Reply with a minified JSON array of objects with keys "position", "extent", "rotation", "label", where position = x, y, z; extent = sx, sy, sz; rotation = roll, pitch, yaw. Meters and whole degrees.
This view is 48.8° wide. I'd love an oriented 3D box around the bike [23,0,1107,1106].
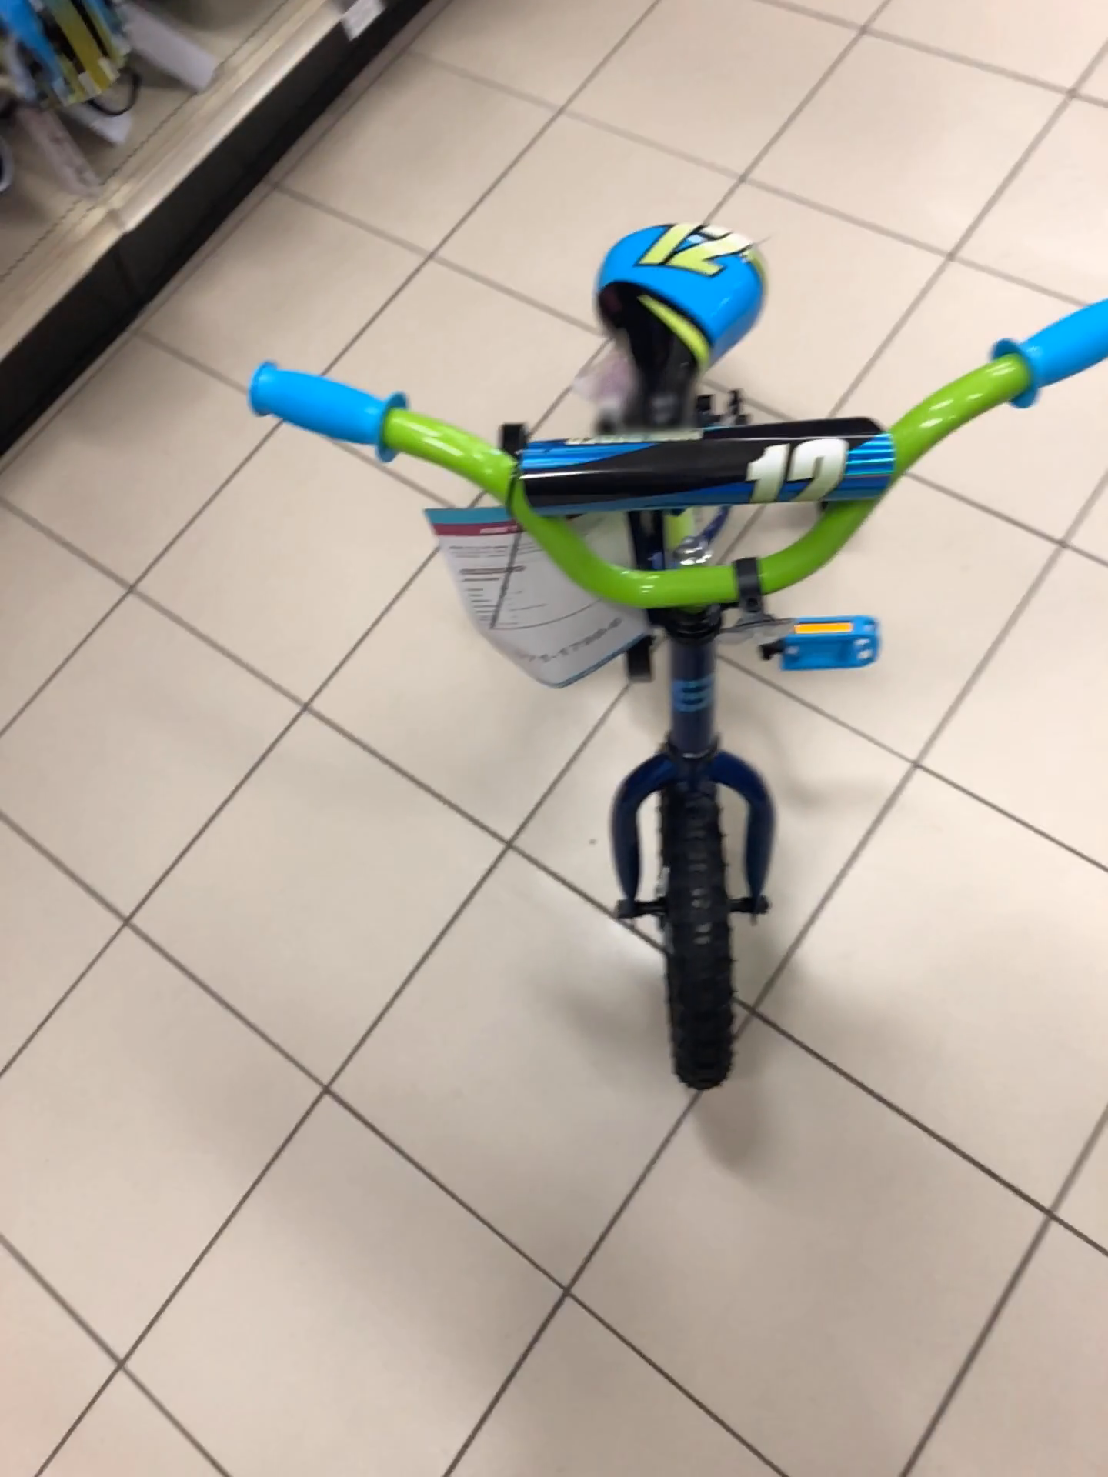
[{"position":[0.101,-0.174,0.971],"extent":[0.548,0.677,0.796],"rotation":[-4,66,10],"label":"bike"}]
